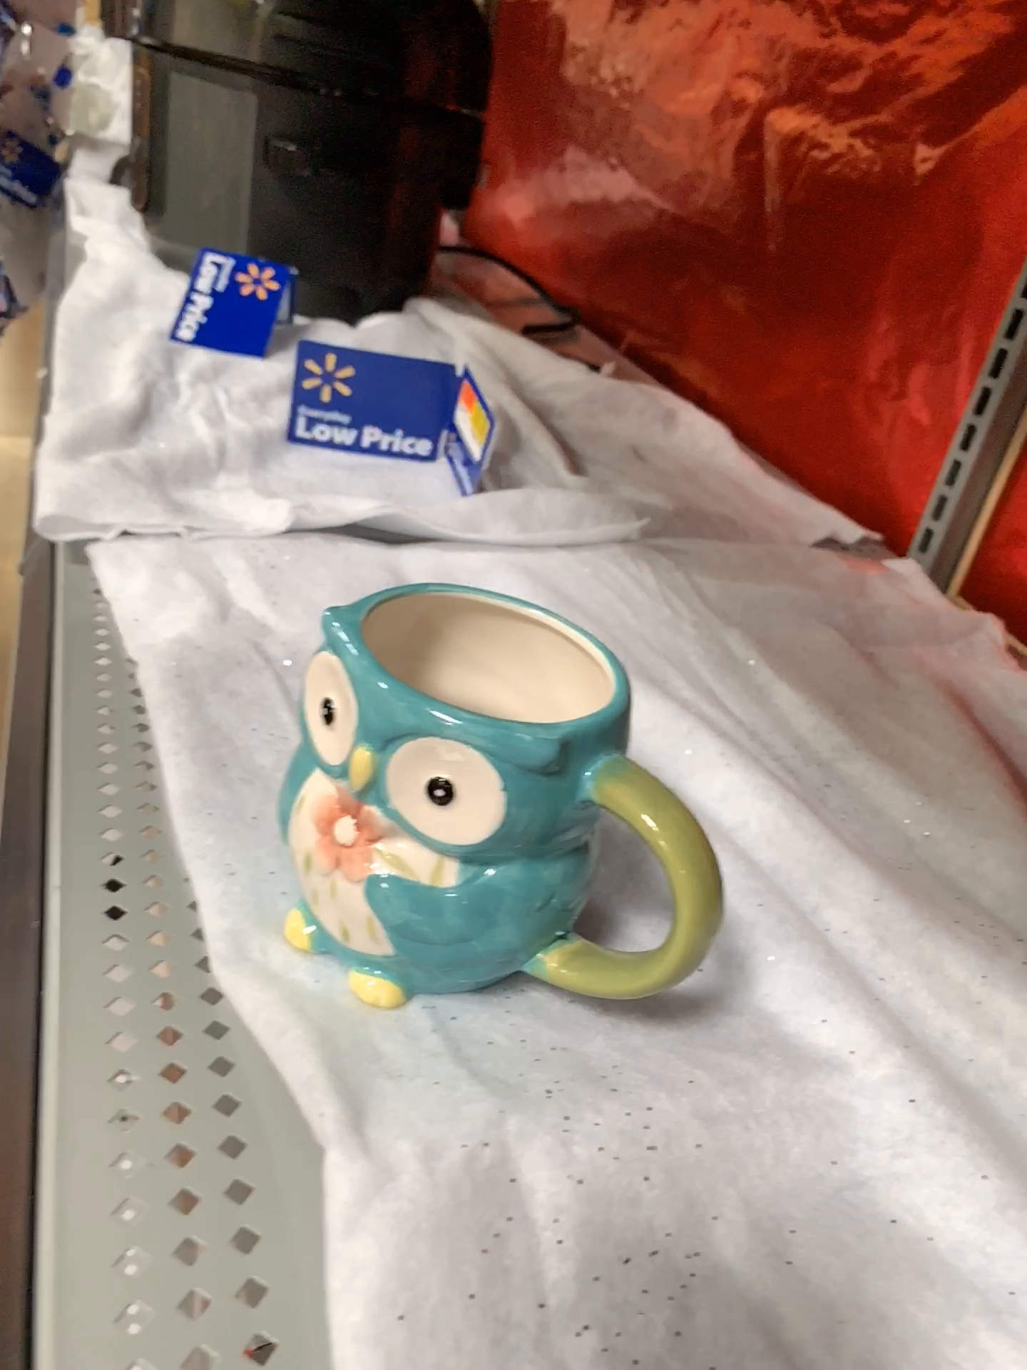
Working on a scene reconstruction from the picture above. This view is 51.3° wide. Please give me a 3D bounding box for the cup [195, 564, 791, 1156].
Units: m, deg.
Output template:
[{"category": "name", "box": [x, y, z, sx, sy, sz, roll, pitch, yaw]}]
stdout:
[{"category": "cup", "box": [-0.009, 0.039, 0.322, 0.127, 0.087, 0.108, 30, 34, 28]}]
